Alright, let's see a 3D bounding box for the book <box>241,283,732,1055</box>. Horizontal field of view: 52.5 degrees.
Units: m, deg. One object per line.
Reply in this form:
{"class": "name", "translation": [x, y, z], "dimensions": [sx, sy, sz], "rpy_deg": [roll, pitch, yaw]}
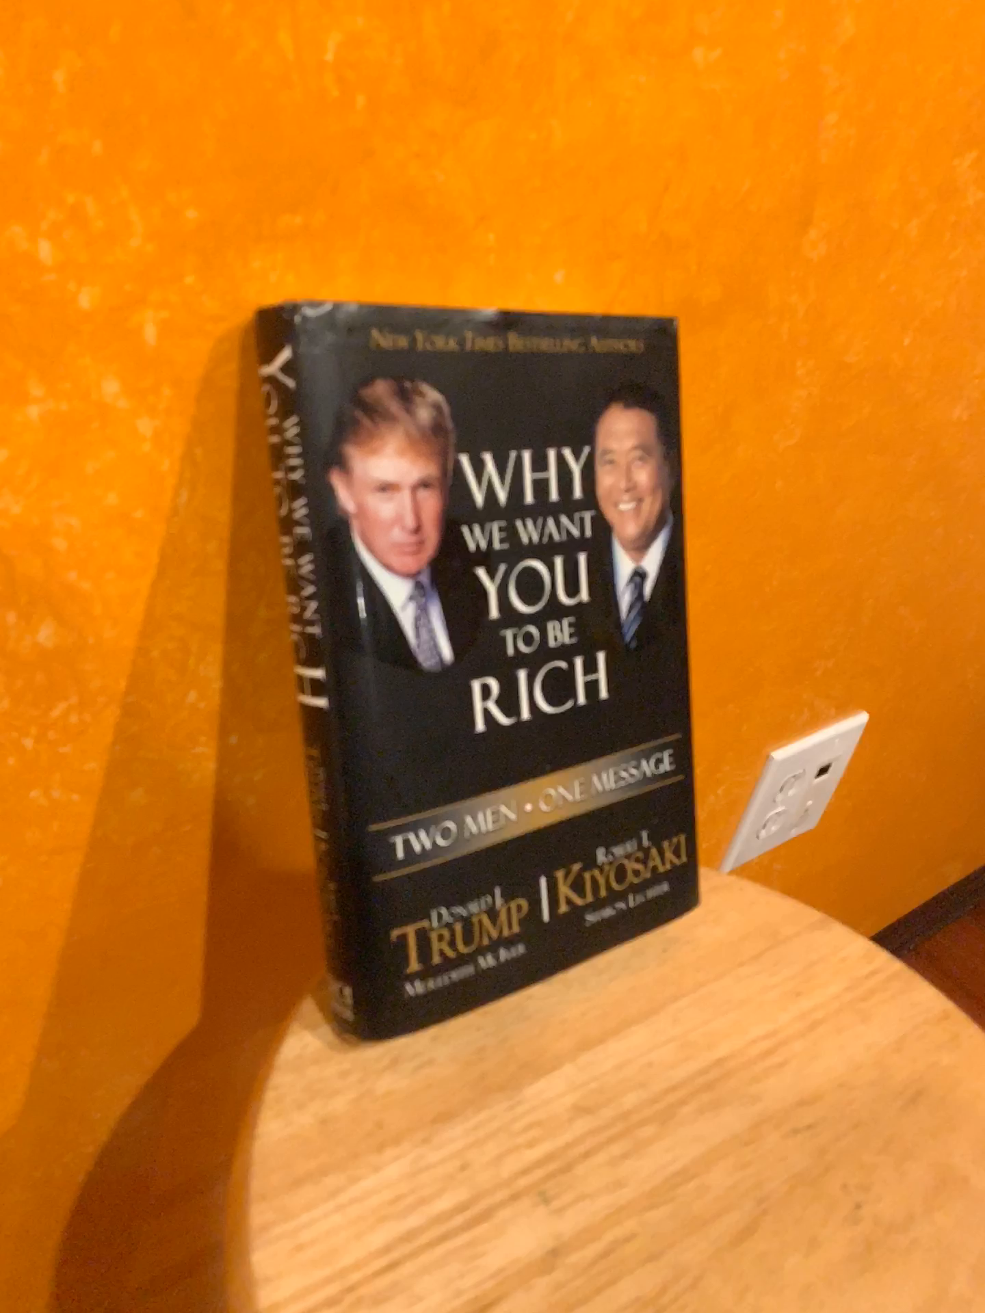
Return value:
{"class": "book", "translation": [0.009, -0.004, 0.325], "dimensions": [0.151, 0.210, 0.044], "rpy_deg": [-11, 14, -34]}
